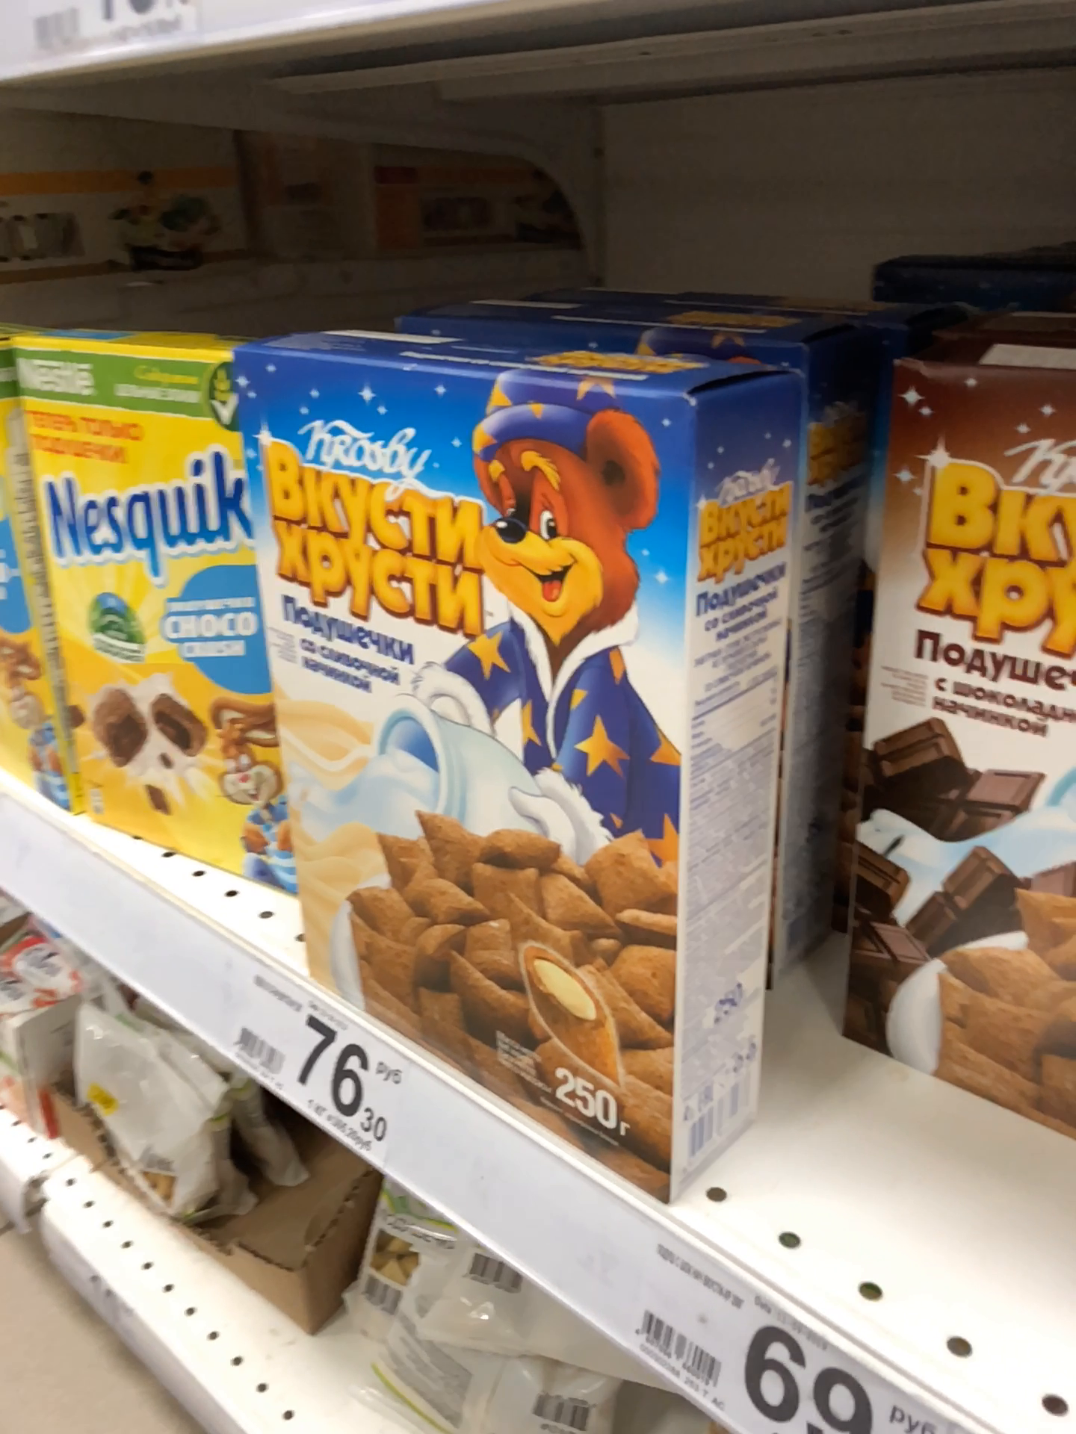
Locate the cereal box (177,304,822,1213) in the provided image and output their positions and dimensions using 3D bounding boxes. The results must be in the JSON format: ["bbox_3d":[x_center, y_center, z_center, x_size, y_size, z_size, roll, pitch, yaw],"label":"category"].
[{"bbox_3d":[-0.019,0.001,0.361,0.191,0.229,0.050,19,31,38],"label":"cereal box"}]
